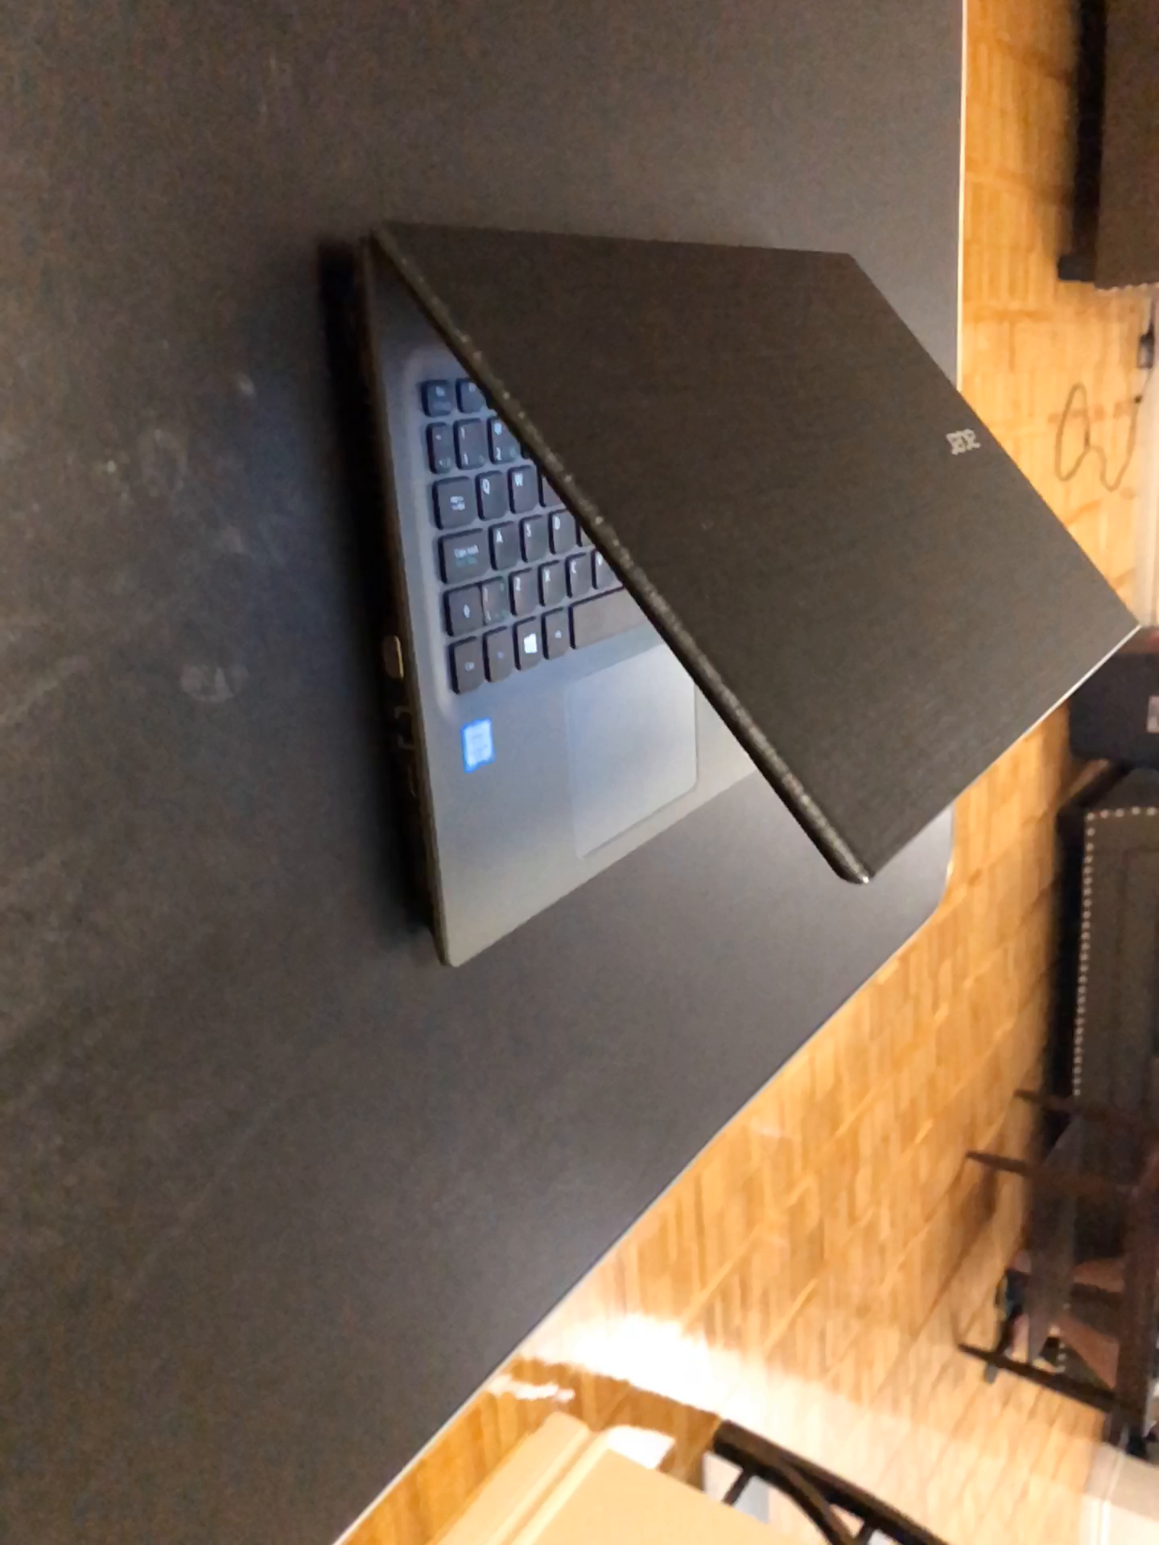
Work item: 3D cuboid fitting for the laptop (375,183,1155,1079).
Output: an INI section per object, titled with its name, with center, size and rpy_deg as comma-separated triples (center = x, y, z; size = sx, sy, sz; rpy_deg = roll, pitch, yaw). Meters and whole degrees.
[laptop]
center = 0.112, -0.087, 0.539
size = 0.371, 0.155, 0.251
rpy_deg = -28, 119, -51
